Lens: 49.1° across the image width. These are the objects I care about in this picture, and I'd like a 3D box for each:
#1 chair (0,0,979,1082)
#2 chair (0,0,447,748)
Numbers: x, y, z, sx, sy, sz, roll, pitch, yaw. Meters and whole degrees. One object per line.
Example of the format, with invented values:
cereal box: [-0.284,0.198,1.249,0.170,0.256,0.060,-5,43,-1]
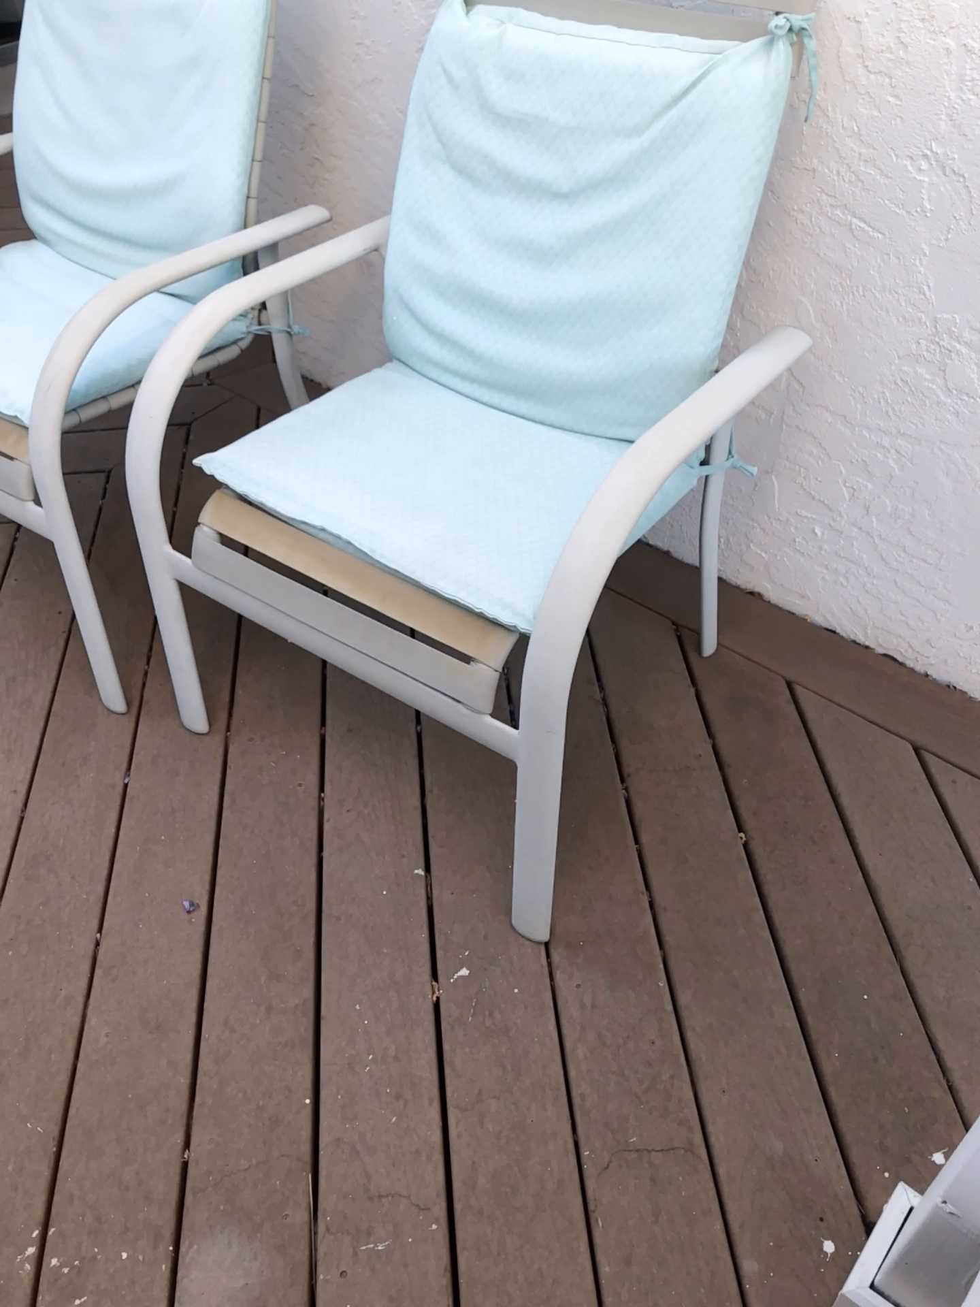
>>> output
chair: [0.062,-0.233,1.588,0.842,1.273,0.873,27,52,26]
chair: [-0.609,-0.569,1.648,0.701,0.964,0.783,27,52,26]
